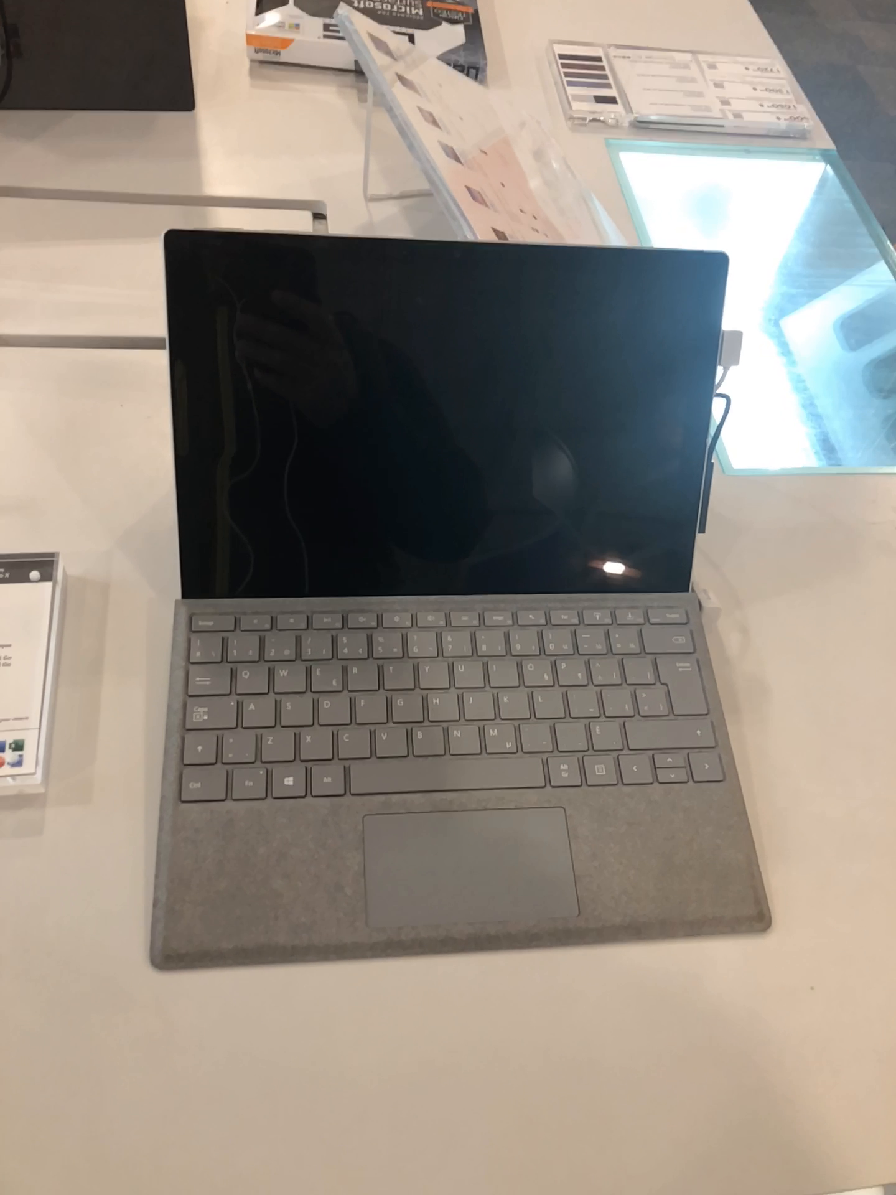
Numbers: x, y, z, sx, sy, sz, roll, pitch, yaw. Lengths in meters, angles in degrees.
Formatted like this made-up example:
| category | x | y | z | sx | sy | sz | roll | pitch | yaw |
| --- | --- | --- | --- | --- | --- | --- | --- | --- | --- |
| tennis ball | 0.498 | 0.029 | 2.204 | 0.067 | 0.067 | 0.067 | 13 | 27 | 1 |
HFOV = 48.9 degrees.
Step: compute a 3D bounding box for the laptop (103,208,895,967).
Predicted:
| category | x | y | z | sx | sy | sz | roll | pitch | yaw |
| --- | --- | --- | --- | --- | --- | --- | --- | --- | --- |
| laptop | 0.010 | -0.014 | 0.464 | 0.278 | 0.147 | 0.298 | 0 | 58 | -9 |
